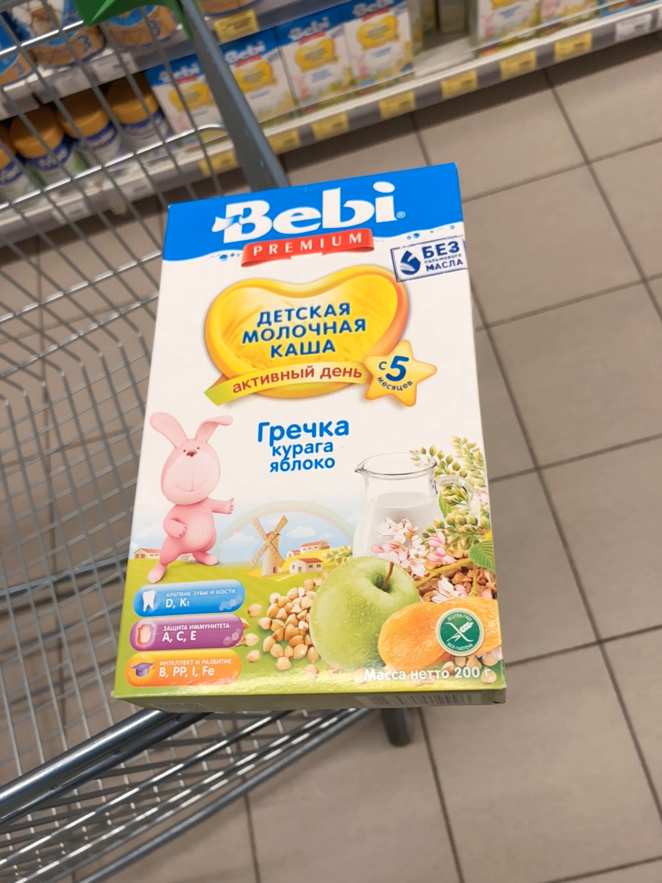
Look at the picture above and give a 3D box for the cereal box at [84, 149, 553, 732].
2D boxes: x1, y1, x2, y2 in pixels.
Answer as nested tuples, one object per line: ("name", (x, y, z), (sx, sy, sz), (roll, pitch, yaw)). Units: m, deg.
("cereal box", (-0.003, -0.004, 0.282), (0.140, 0.050, 0.210), (-5, 65, 11))
